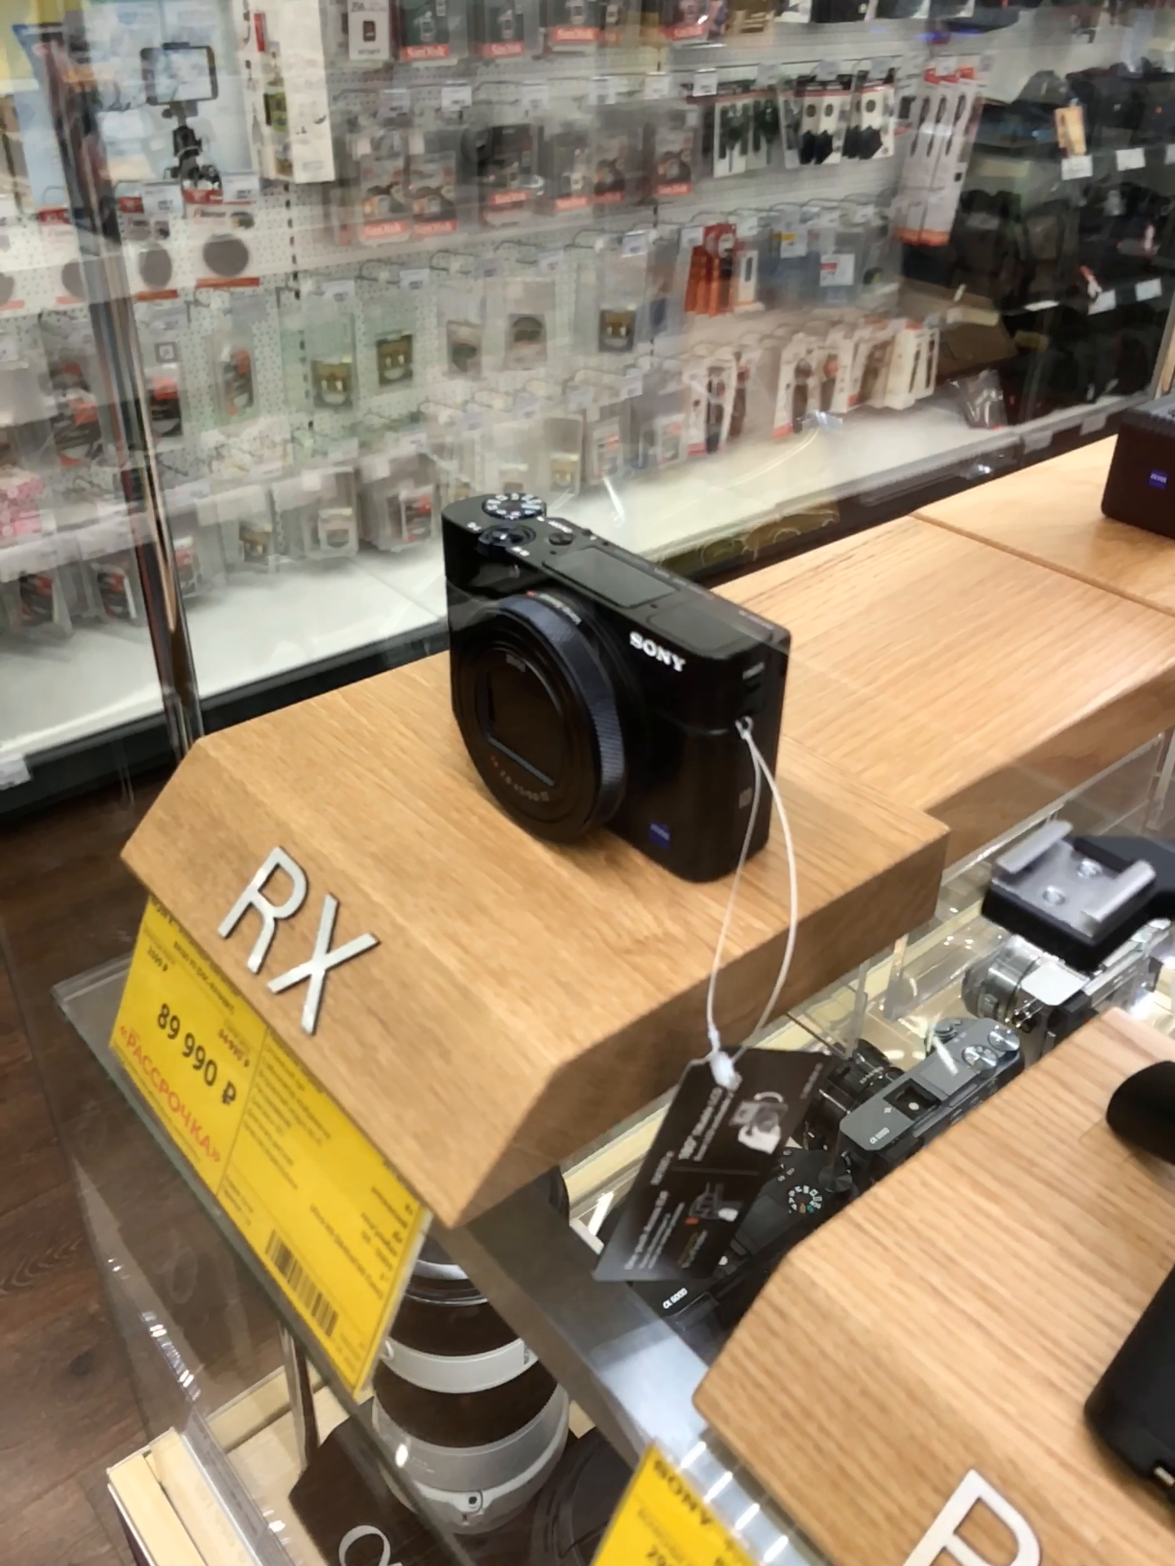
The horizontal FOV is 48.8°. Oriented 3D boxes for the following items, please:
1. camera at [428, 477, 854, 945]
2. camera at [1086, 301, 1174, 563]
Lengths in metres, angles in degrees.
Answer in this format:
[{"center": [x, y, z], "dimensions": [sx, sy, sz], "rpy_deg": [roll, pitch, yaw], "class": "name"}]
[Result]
[{"center": [0.008, -0.022, 0.311], "dimensions": [0.040, 0.070, 0.100], "rpy_deg": [-24, 40, -33], "class": "camera"}, {"center": [0.209, -0.120, 0.440], "dimensions": [0.052, 0.070, 0.040], "rpy_deg": [-25, 41, -34], "class": "camera"}]
